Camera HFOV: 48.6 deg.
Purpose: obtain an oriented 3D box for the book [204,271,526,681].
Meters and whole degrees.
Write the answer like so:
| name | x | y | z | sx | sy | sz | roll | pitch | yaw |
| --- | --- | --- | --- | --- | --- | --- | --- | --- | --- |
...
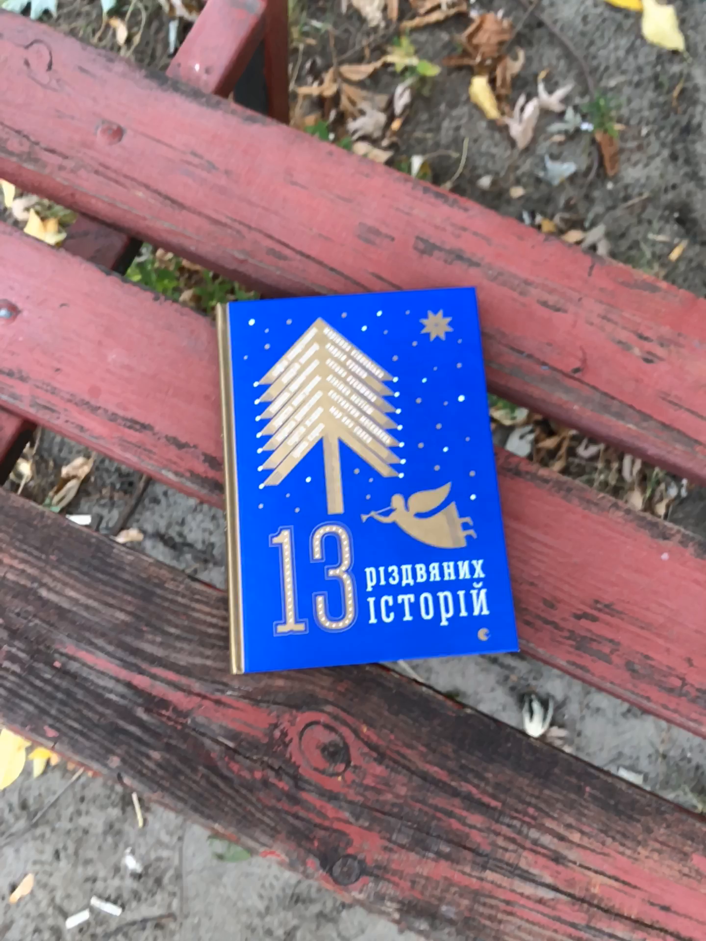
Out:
| name | x | y | z | sx | sy | sz | roll | pitch | yaw |
| --- | --- | --- | --- | --- | --- | --- | --- | --- | --- |
| book | 0.002 | -0.001 | 0.425 | 0.155 | 0.020 | 0.212 | -4 | 78 | -1 |
